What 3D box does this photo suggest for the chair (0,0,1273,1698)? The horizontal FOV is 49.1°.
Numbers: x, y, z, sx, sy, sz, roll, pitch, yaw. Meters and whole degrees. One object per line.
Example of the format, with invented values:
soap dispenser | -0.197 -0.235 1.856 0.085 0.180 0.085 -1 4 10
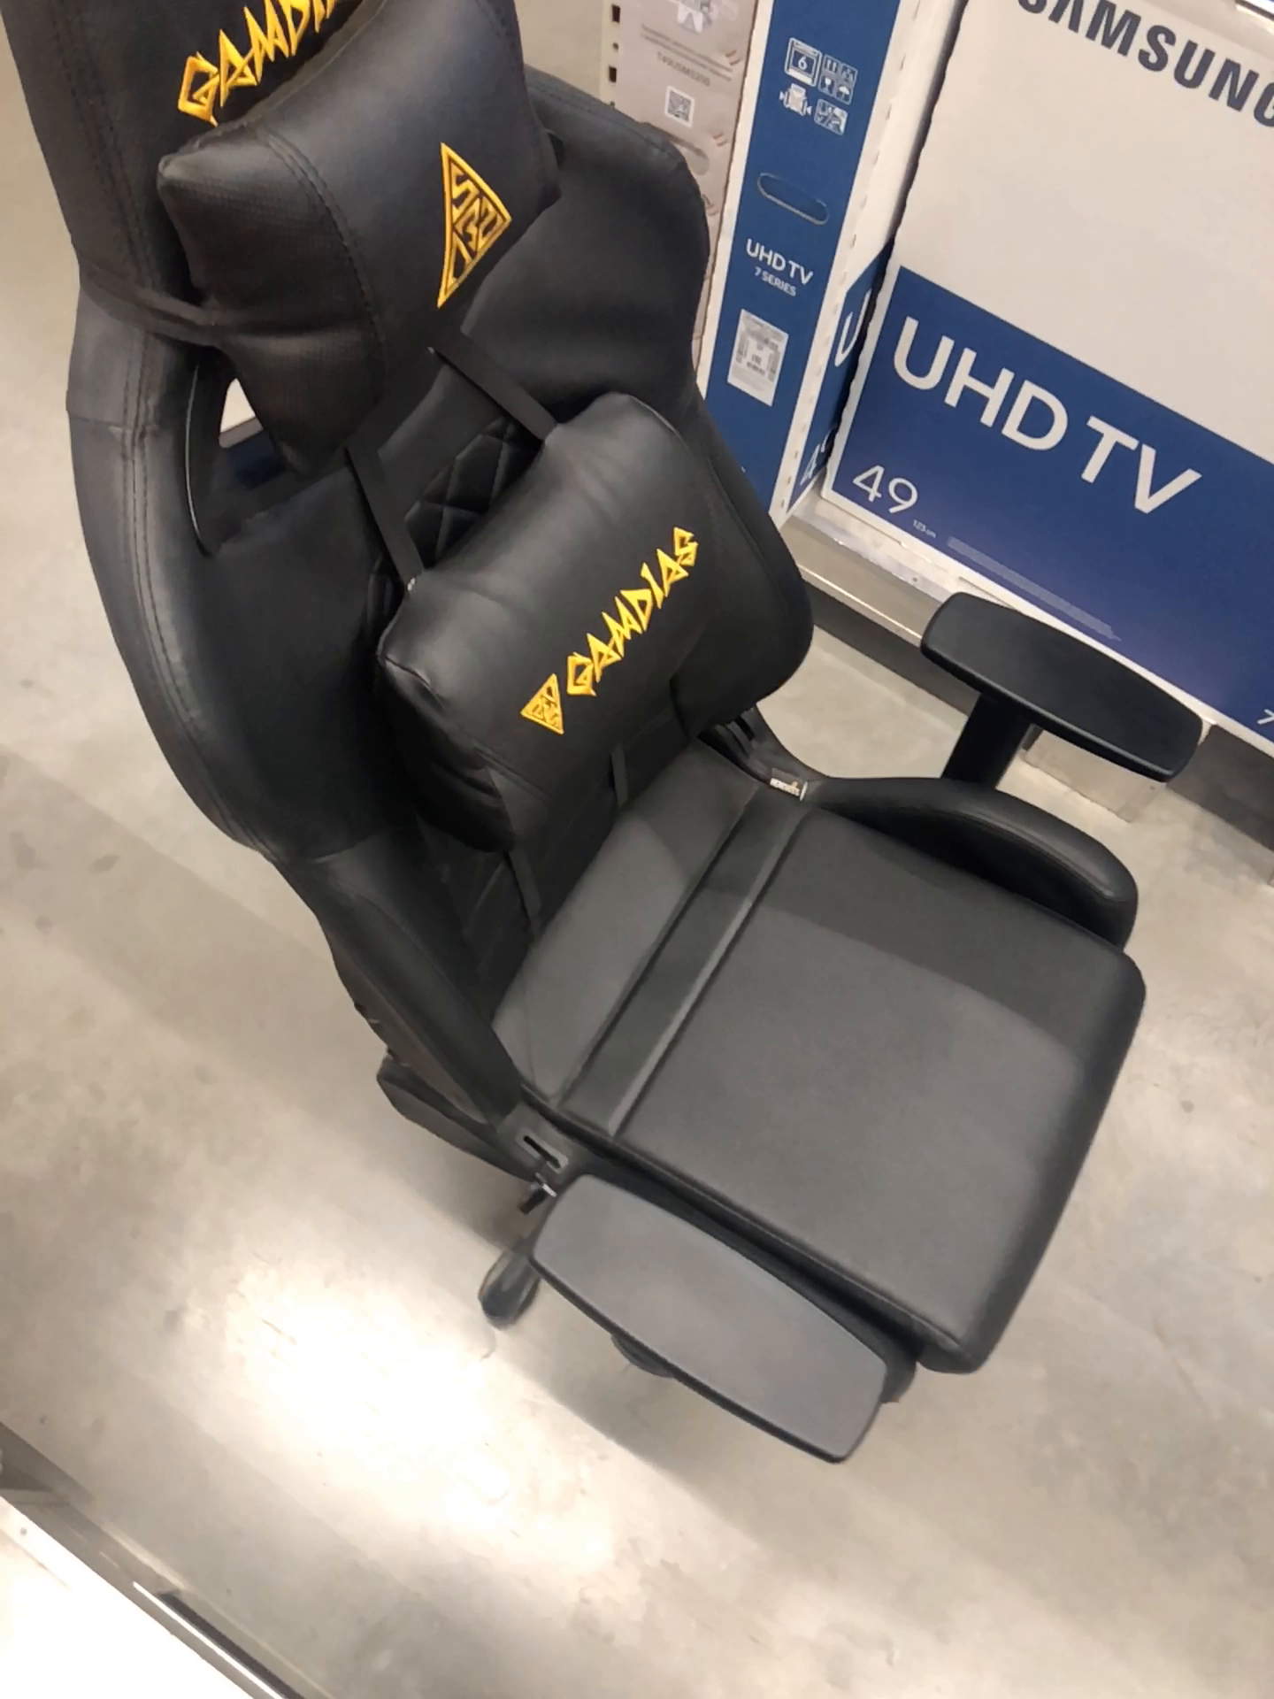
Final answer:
chair | 0.082 0.010 1.073 0.780 1.285 0.743 30 66 9
